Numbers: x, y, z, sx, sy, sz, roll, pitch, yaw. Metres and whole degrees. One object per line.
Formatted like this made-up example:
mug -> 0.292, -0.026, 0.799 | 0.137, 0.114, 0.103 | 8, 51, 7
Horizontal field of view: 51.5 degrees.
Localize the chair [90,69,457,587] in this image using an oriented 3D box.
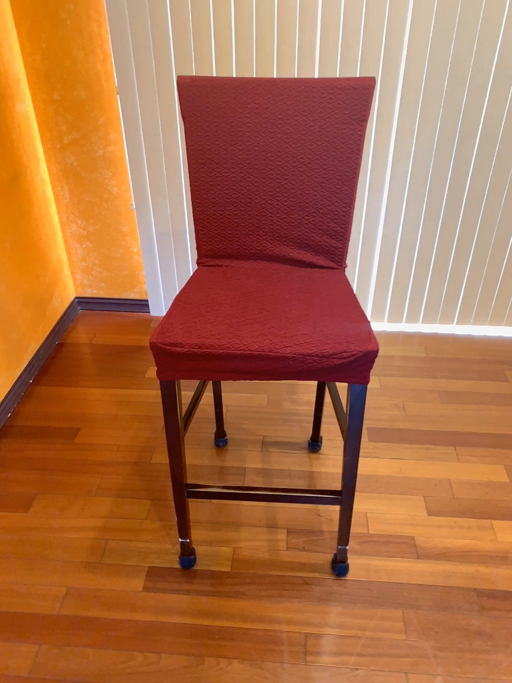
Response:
chair -> 0.027, 0.001, 1.176 | 0.470, 1.027, 0.506 | 2, 34, 2
